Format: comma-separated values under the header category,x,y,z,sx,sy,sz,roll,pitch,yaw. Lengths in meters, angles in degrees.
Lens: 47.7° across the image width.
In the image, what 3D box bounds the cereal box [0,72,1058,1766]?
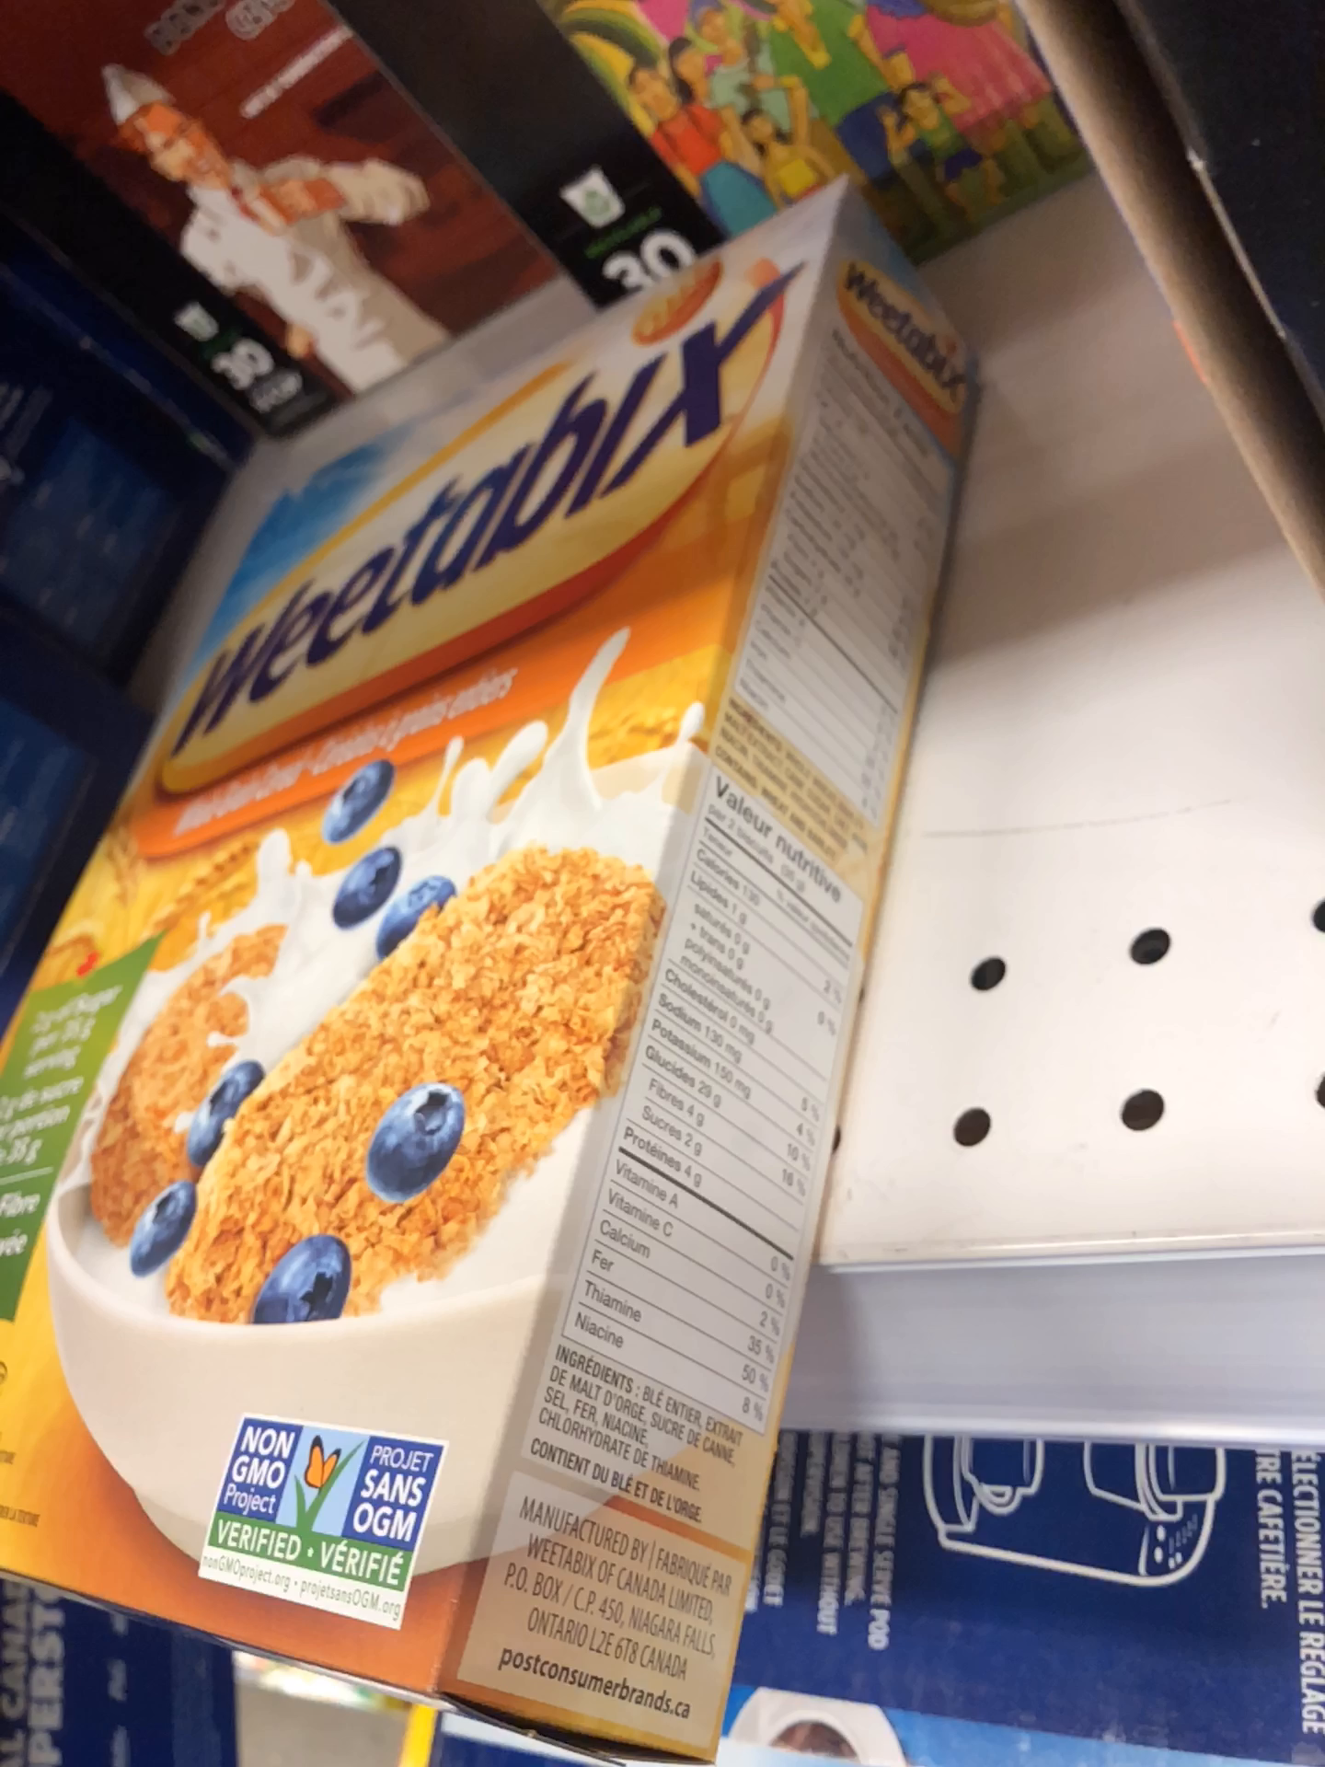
category,x,y,z,sx,sy,sz,roll,pitch,yaw
cereal box,-0.047,-0.006,0.298,0.211,0.050,0.290,-12,49,40
